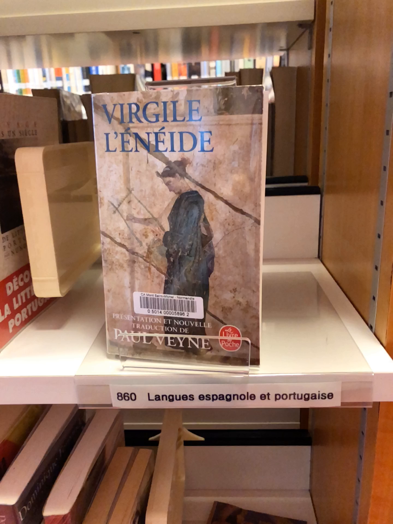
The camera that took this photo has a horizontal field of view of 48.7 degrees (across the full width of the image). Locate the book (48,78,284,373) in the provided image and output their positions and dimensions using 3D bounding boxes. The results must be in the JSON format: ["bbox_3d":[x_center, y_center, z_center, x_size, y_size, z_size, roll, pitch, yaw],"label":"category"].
[{"bbox_3d":[-0.010,-0.025,0.292,0.131,0.168,0.074,1,16,12],"label":"book"}]
